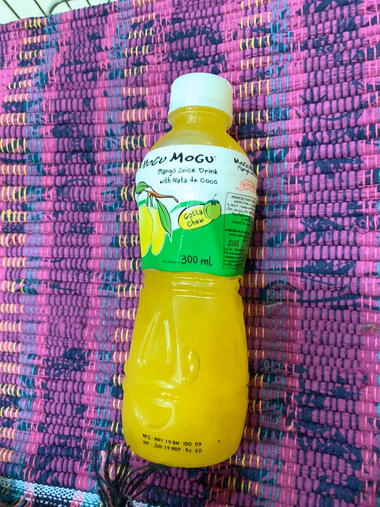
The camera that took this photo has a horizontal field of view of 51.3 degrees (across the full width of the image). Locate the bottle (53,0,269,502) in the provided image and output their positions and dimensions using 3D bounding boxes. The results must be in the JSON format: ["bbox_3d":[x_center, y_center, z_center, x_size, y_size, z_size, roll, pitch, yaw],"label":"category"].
[{"bbox_3d":[-0.004,-0.004,0.161,0.060,0.060,0.160,2,85,17],"label":"bottle"}]
